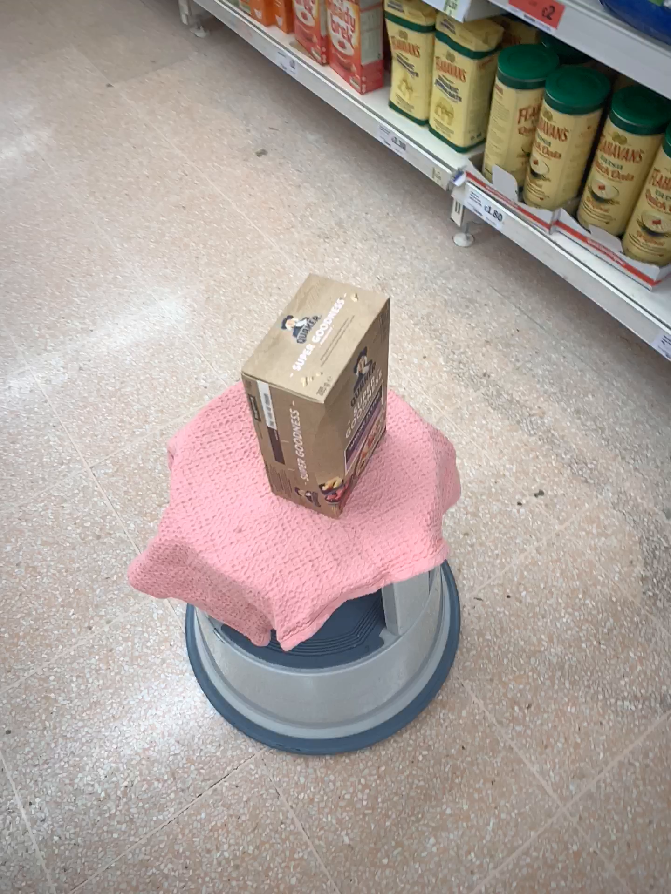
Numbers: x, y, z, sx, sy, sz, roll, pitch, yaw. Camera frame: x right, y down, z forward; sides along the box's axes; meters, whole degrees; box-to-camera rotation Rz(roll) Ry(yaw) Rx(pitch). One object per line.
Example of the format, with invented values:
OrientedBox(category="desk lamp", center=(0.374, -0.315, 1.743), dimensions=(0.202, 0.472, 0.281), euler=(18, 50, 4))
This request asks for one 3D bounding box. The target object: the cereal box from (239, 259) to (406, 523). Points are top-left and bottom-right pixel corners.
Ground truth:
OrientedBox(category="cereal box", center=(-0.005, -0.045, 0.651), dimensions=(0.090, 0.209, 0.131), euler=(21, 60, 15))
